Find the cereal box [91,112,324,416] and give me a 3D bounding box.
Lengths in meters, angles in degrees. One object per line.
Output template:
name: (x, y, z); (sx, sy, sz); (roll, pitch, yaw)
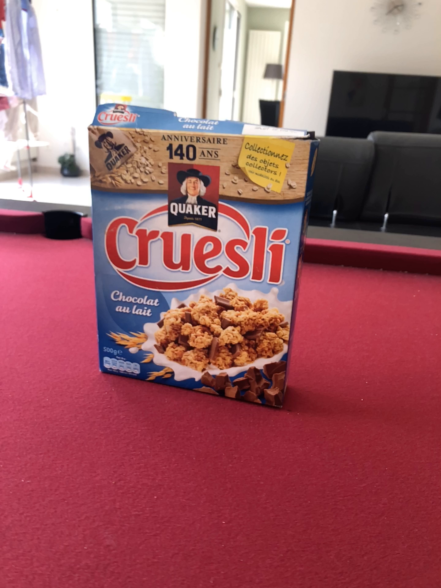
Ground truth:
cereal box: (-0.017, -0.026, 0.458); (0.190, 0.259, 0.050); (8, 22, 10)
